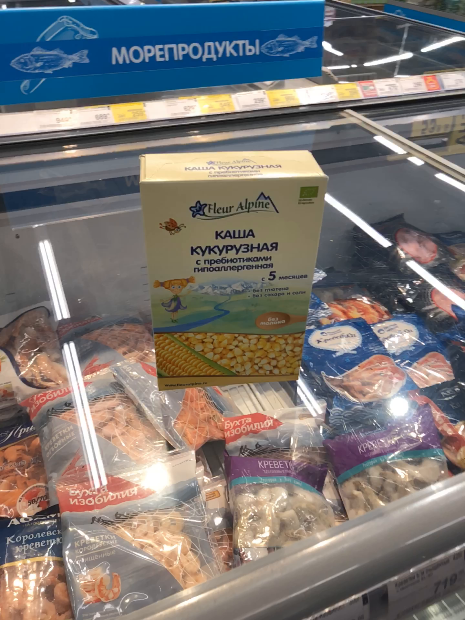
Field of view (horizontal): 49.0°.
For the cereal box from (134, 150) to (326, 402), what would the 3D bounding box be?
[{"bbox_3d":[-0.006,-0.020,0.426,0.130,0.209,0.050,-4,37,-7],"label":"cereal box"}]
